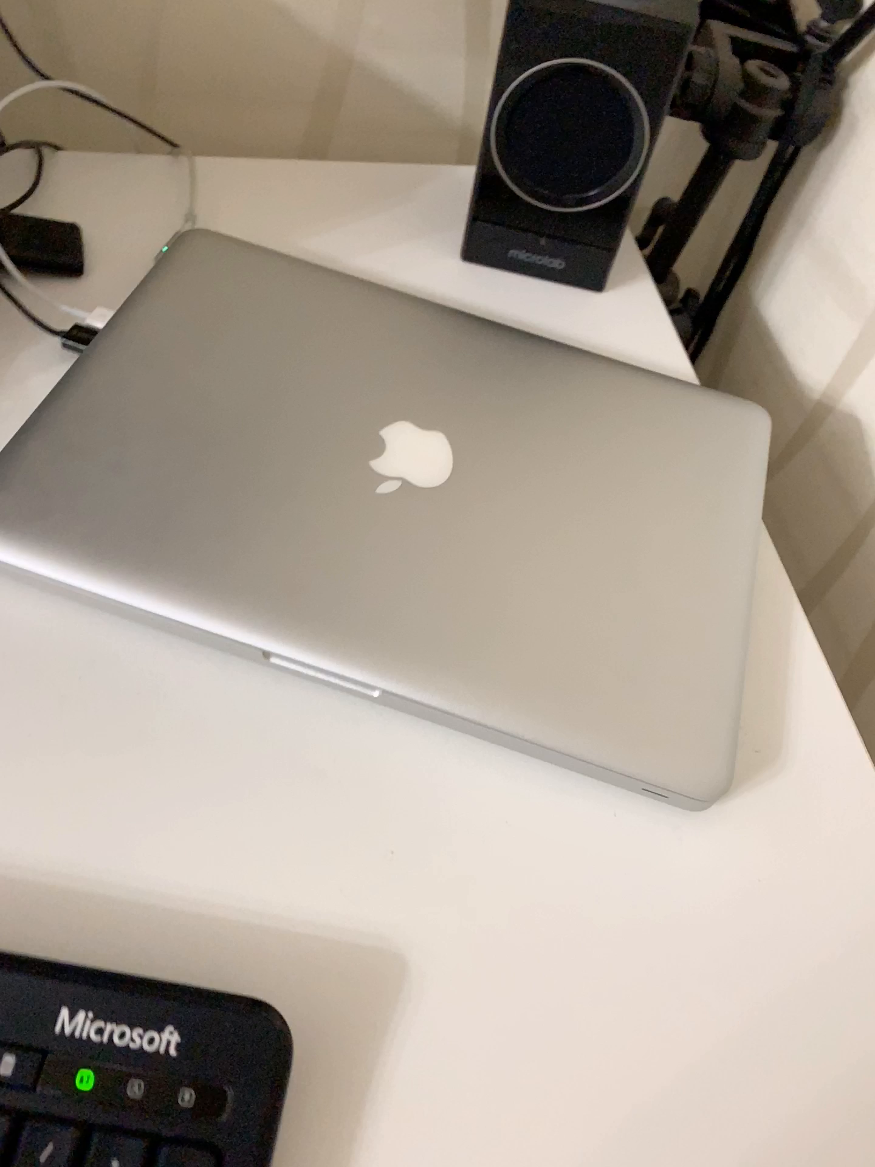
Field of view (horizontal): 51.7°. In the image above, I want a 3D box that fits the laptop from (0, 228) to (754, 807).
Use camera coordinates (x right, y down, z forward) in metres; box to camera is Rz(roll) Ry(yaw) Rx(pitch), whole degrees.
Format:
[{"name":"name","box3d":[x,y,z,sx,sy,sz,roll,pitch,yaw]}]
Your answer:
[{"name":"laptop","box3d":[-0.013,-0.050,0.408,0.305,0.007,0.219,19,56,1]}]
